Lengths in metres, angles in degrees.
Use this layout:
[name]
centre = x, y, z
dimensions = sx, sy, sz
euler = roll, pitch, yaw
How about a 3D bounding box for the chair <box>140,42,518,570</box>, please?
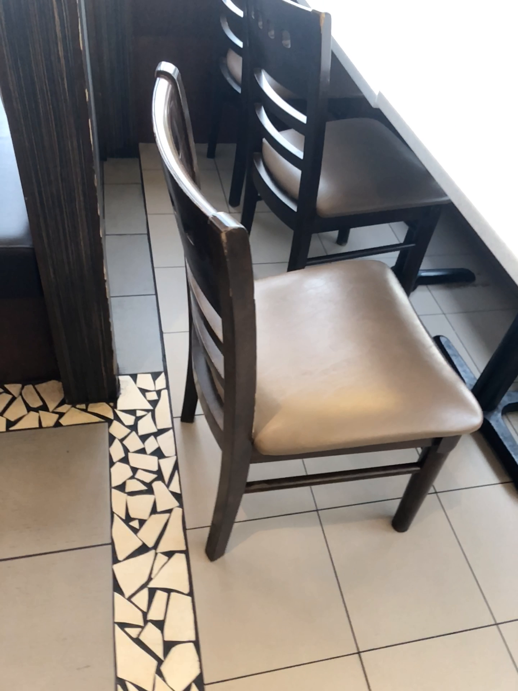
[chair]
centre = 0.121, -0.039, 0.972
dimensions = 0.570, 0.715, 0.473
euler = -5, 49, -13
